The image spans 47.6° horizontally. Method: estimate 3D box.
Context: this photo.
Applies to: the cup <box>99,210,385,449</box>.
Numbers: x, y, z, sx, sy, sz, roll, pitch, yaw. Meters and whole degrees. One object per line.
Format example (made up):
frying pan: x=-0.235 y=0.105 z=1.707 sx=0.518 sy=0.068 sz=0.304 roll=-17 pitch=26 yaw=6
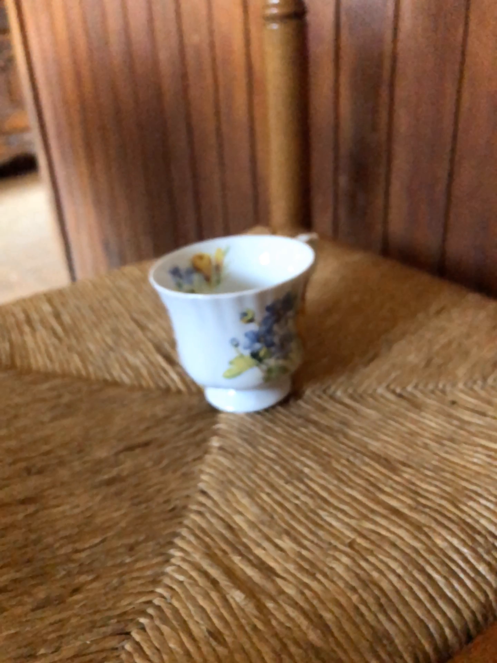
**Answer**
cup: x=0.002 y=-0.012 z=0.323 sx=0.090 sy=0.070 sz=0.131 roll=22 pitch=37 yaw=40
